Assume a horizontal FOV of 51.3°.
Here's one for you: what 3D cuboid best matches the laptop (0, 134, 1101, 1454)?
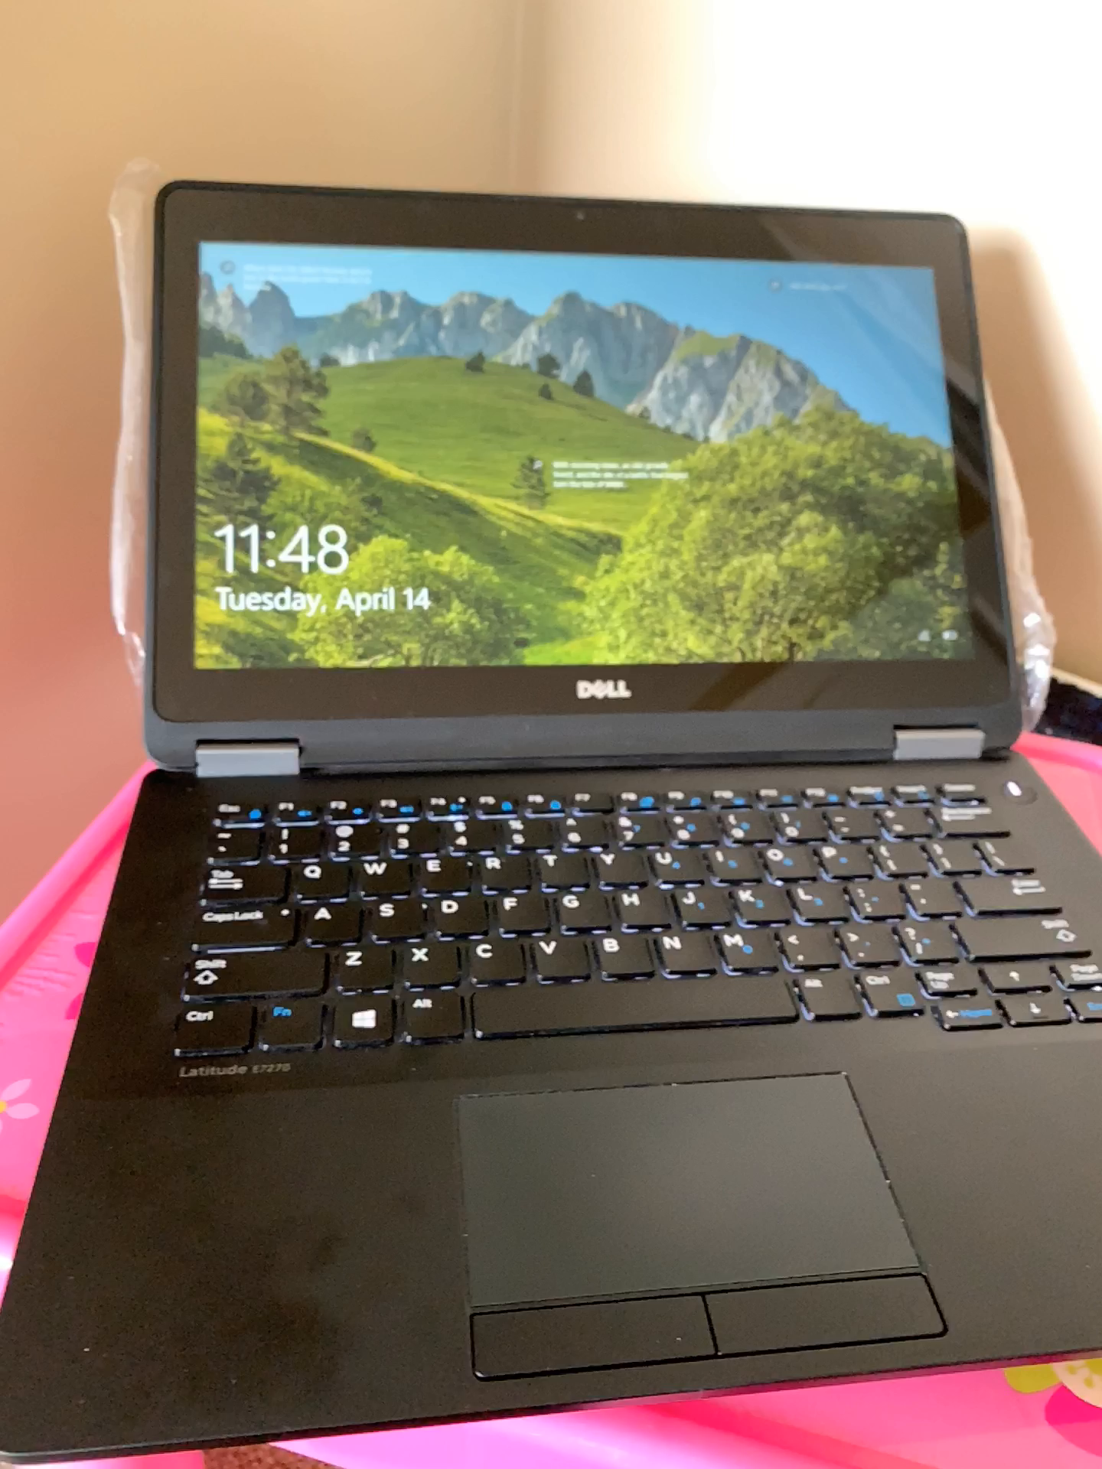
[{"bbox_3d":[0.028,-0.034,0.283,0.261,0.121,0.303,-1,40,-9],"label":"laptop"}]
